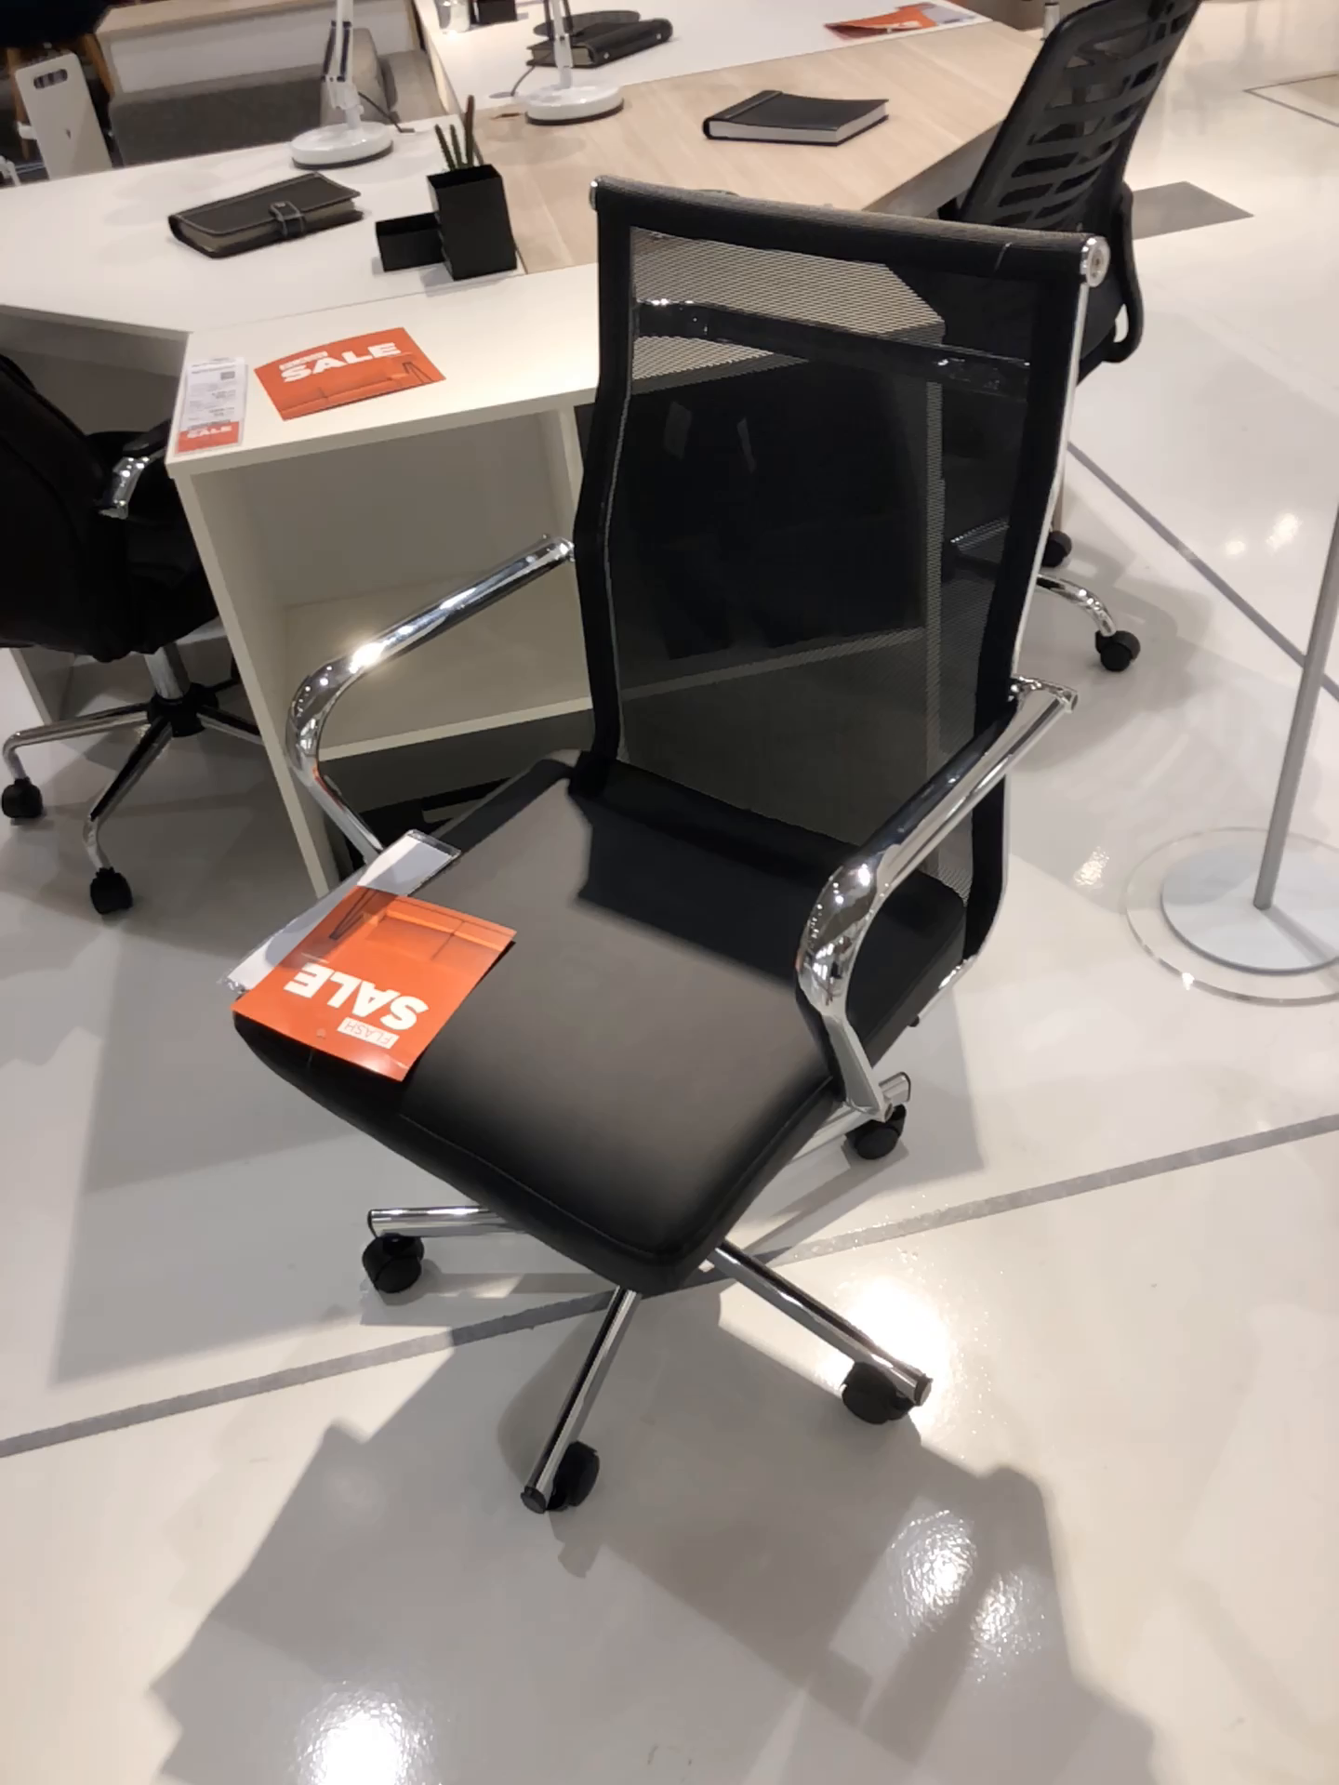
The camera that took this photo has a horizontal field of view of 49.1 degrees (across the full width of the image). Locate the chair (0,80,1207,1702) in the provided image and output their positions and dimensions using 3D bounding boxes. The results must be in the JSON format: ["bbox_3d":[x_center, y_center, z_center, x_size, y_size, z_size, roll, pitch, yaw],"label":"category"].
[{"bbox_3d":[-0.046,-0.017,1.181,0.612,0.992,0.623,21,48,31],"label":"chair"}]
